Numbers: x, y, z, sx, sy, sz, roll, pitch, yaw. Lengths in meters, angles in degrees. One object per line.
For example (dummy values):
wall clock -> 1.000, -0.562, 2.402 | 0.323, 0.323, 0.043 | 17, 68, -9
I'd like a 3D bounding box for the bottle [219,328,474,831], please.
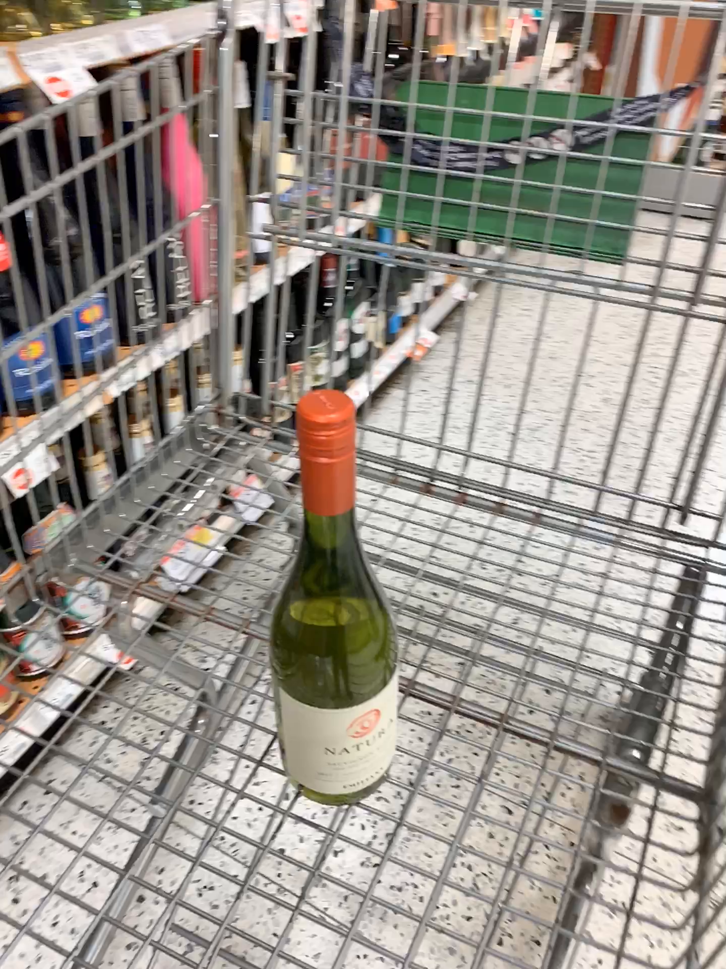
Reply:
bottle -> -0.010, 0.071, 0.423 | 0.090, 0.297, 0.081 | -15, 41, -17
